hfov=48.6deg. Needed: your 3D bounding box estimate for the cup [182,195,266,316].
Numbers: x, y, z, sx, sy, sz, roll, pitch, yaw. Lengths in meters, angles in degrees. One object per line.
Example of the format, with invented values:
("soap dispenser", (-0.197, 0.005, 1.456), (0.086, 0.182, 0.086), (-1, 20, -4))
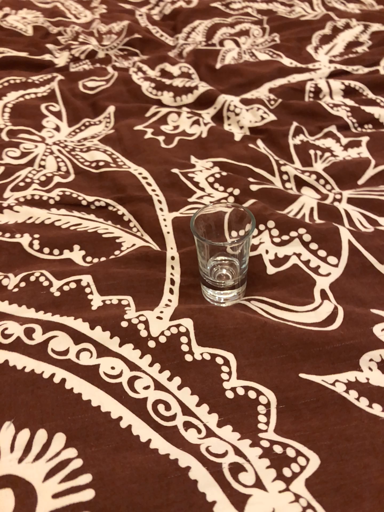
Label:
("cup", (0.024, 0.001, 0.302), (0.045, 0.070, 0.042), (-2, 48, 3))
